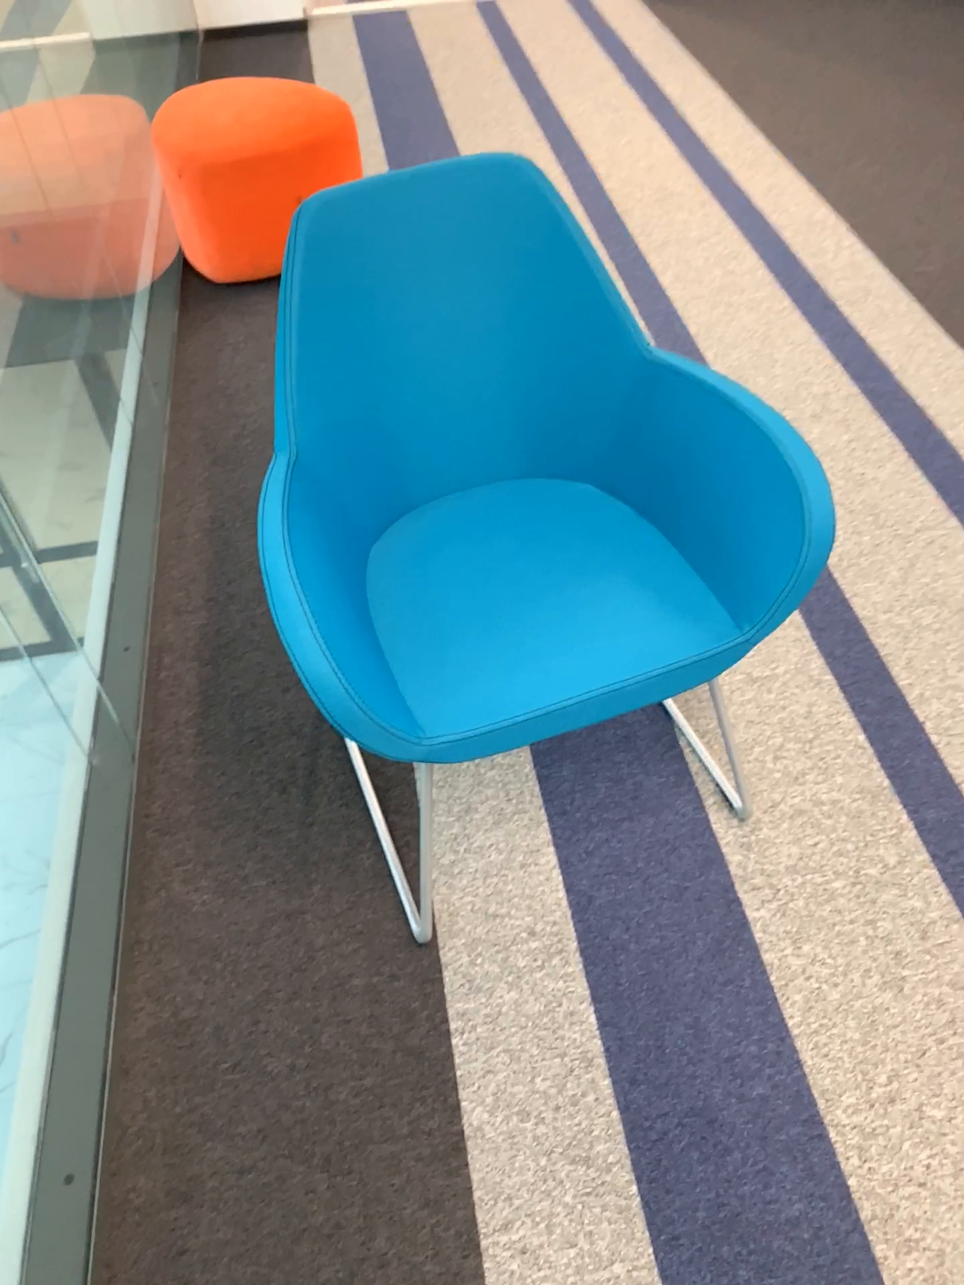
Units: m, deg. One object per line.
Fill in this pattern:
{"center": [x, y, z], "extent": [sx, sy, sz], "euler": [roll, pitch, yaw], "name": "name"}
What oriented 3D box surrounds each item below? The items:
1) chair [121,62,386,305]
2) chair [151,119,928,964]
{"center": [-0.729, -1.480, 3.149], "extent": [0.640, 0.396, 0.653], "euler": [-17, 49, -11], "name": "chair"}
{"center": [0.030, -0.132, 1.410], "extent": [0.671, 0.836, 0.653], "euler": [-17, 49, -11], "name": "chair"}
